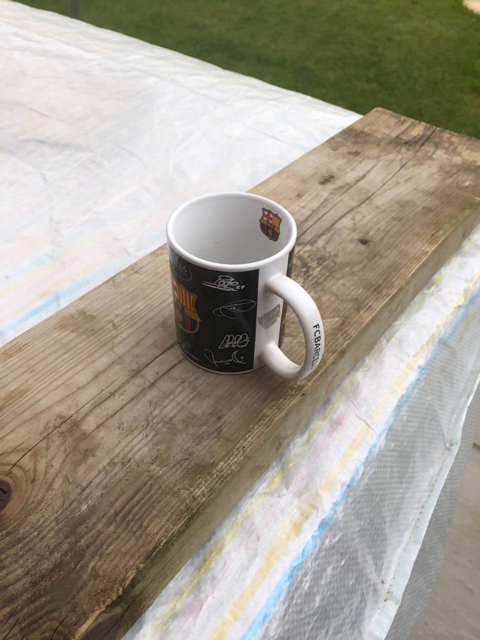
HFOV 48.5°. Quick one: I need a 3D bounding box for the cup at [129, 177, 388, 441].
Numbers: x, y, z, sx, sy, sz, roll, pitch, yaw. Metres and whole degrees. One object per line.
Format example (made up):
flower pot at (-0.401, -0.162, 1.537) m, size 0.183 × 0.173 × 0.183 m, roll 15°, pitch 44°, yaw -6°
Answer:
cup at (0.006, -0.014, 0.348) m, size 0.090 × 0.089 × 0.130 m, roll -30°, pitch 52°, yaw -31°
